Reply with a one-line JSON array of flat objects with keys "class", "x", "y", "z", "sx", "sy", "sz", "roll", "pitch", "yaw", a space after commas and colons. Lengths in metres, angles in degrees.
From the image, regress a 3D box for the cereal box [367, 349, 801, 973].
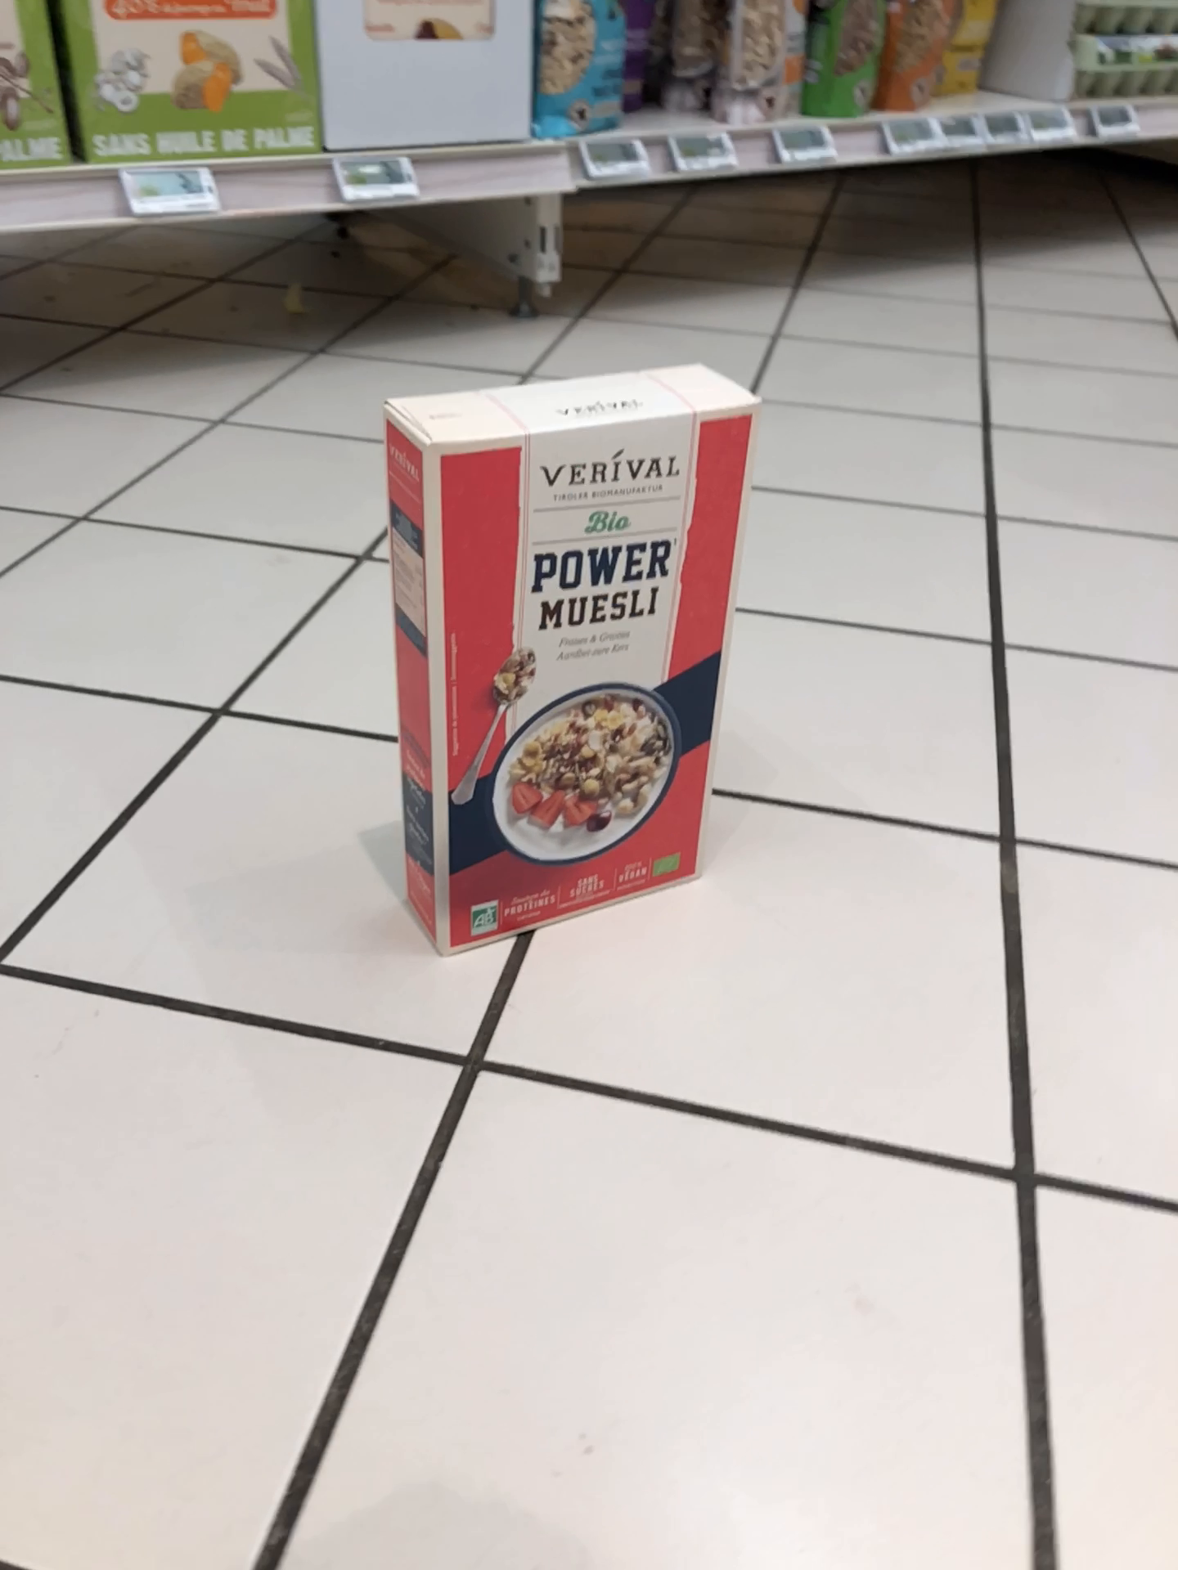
[{"class": "cereal box", "x": -0.004, "y": -0.044, "z": 0.502, "sx": 0.140, "sy": 0.219, "sz": 0.050, "roll": -14, "pitch": 37, "yaw": -23}]
